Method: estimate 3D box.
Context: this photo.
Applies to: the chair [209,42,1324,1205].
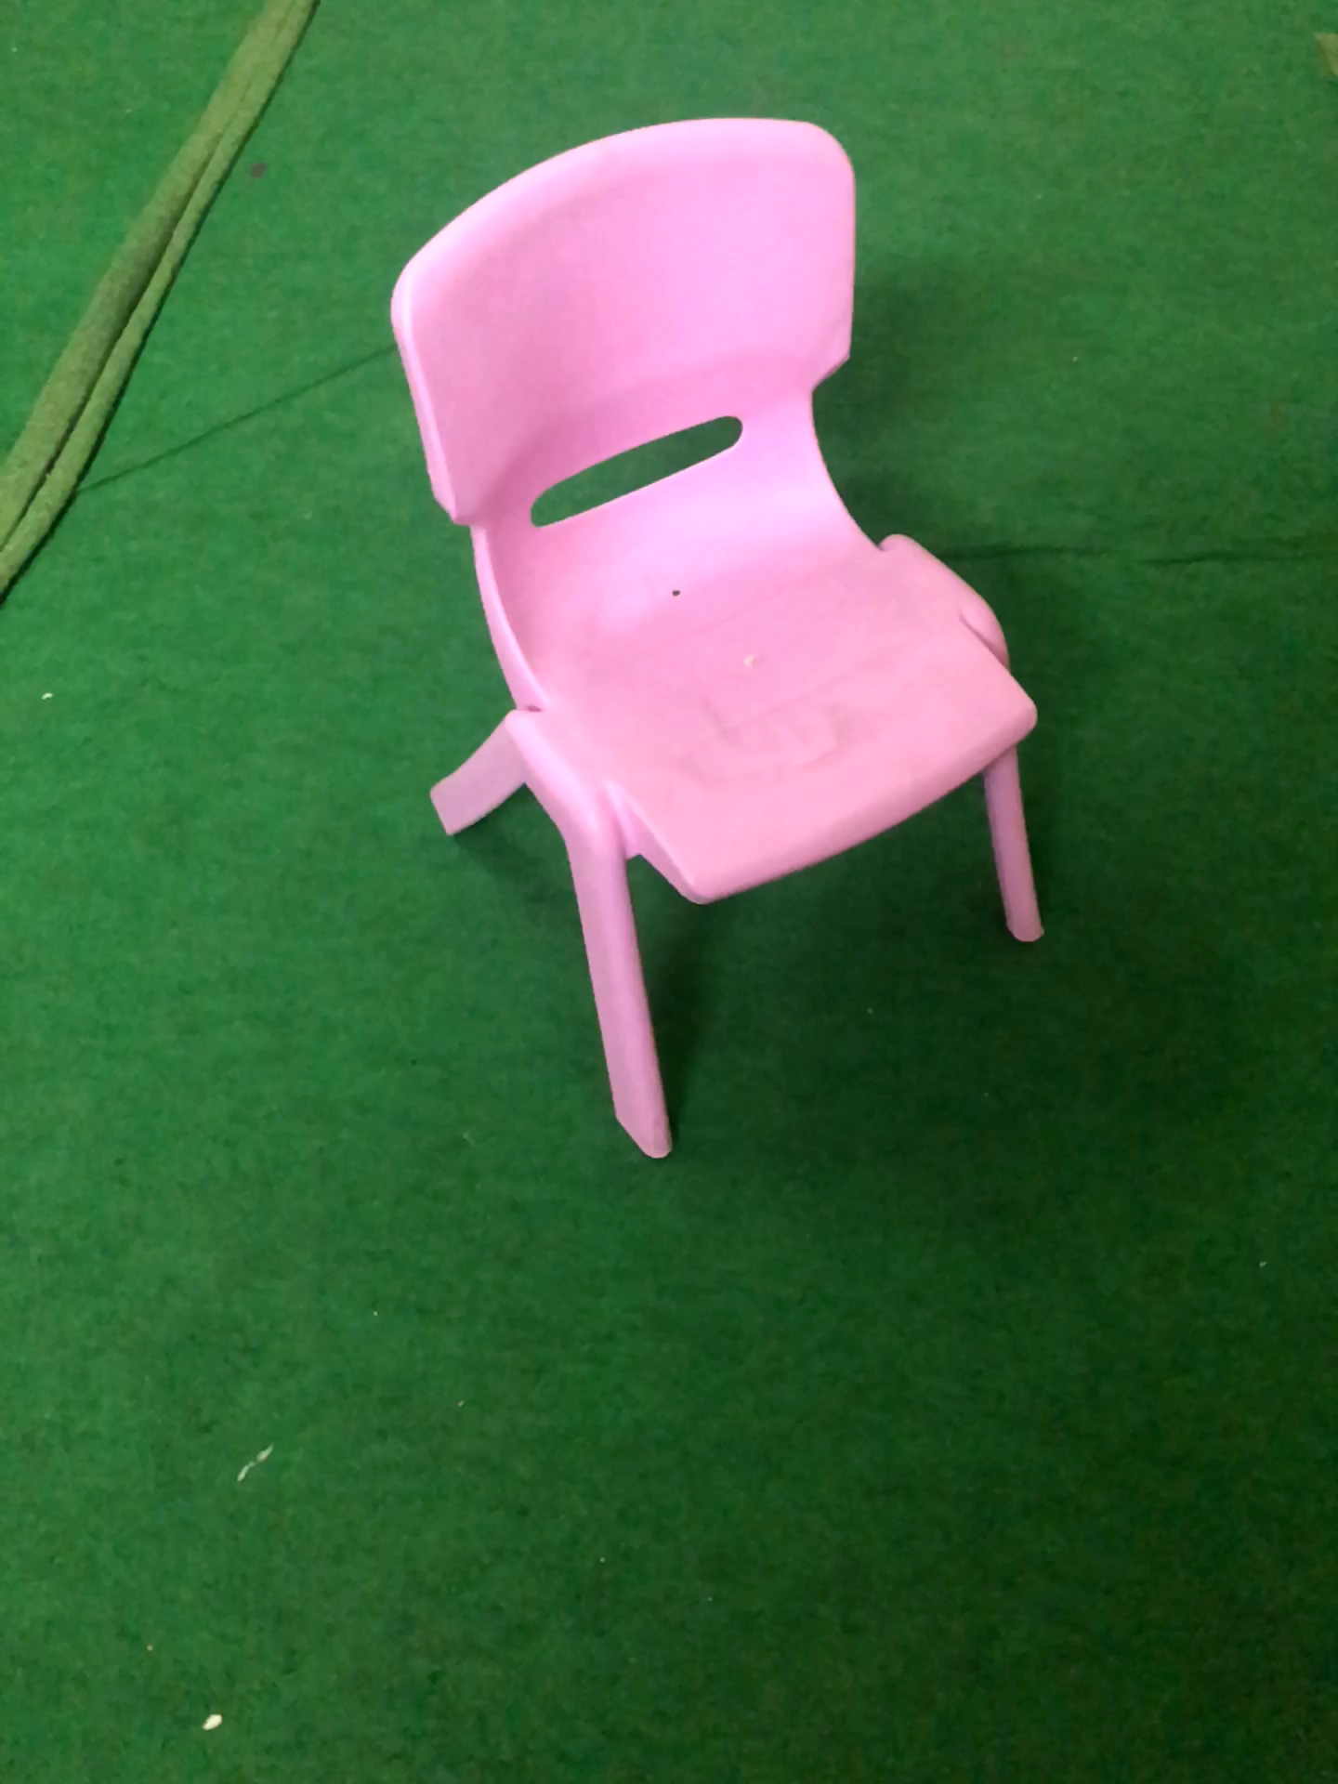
[{"bbox_3d":[0.034,-0.155,0.914,0.380,0.449,0.411,-30,61,-19],"label":"chair"}]
